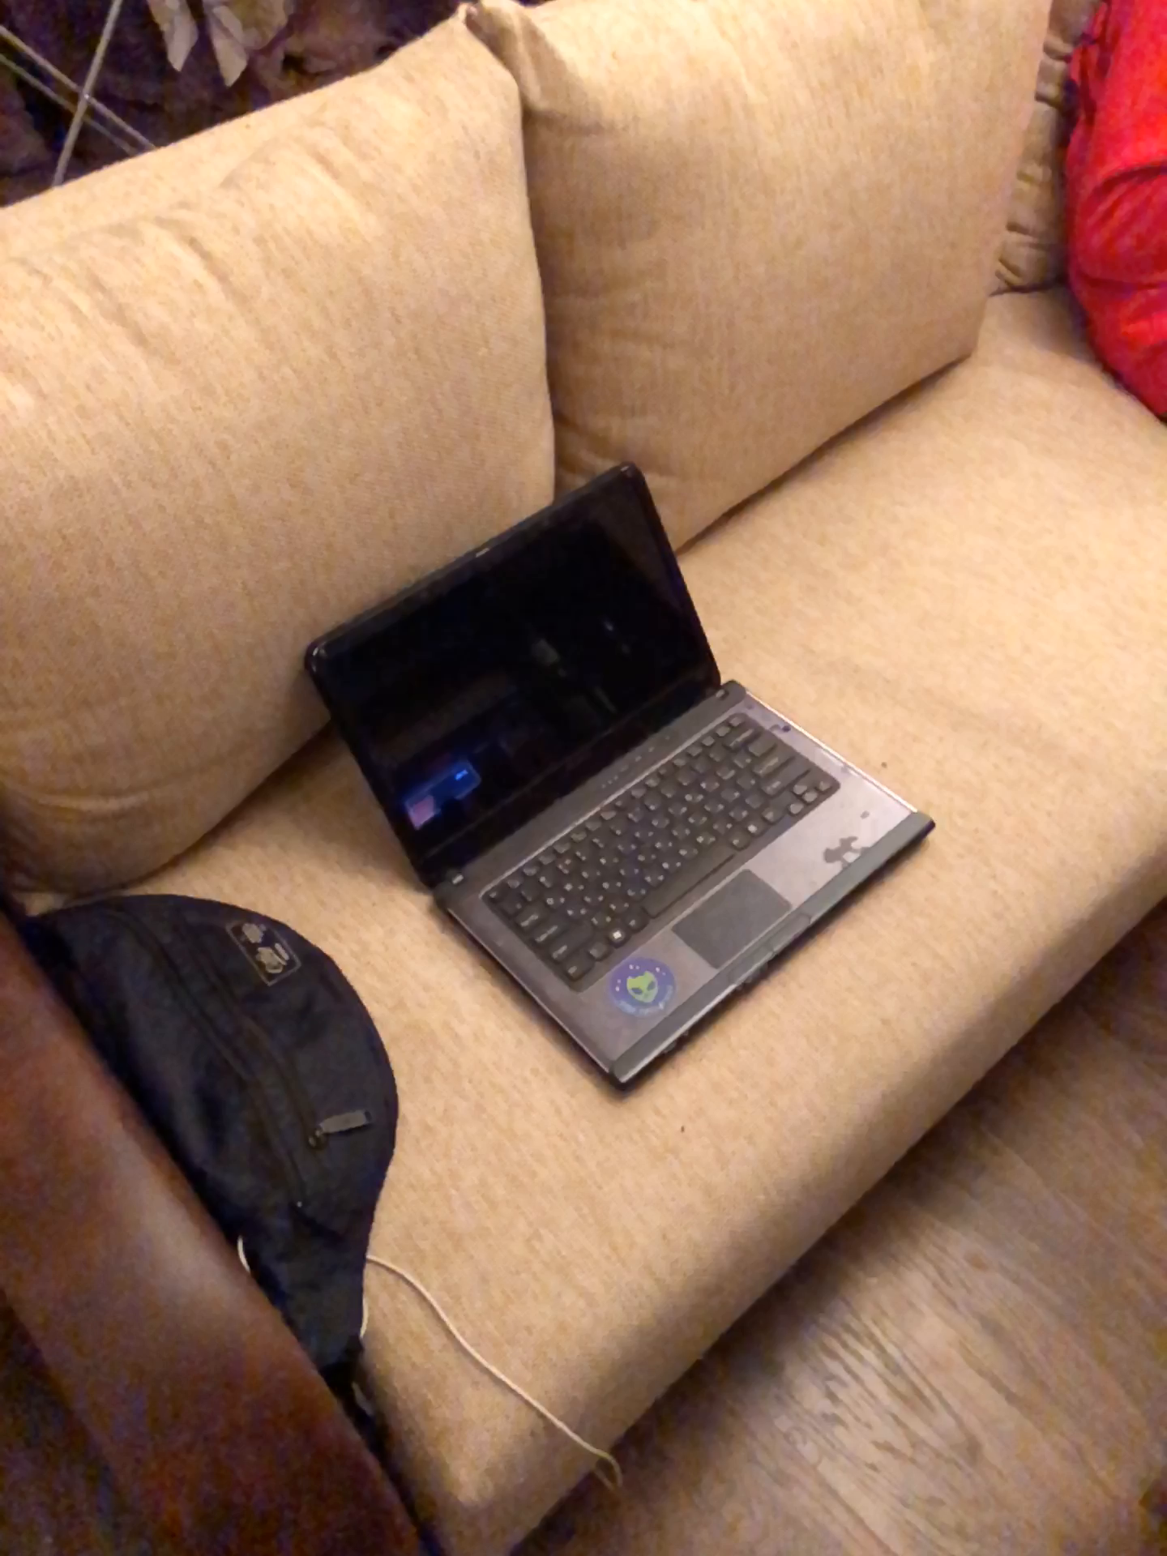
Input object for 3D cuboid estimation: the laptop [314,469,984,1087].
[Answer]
[{"bbox_3d":[0.043,-0.021,1.001,0.338,0.174,0.350,-35,57,-24],"label":"laptop"}]
